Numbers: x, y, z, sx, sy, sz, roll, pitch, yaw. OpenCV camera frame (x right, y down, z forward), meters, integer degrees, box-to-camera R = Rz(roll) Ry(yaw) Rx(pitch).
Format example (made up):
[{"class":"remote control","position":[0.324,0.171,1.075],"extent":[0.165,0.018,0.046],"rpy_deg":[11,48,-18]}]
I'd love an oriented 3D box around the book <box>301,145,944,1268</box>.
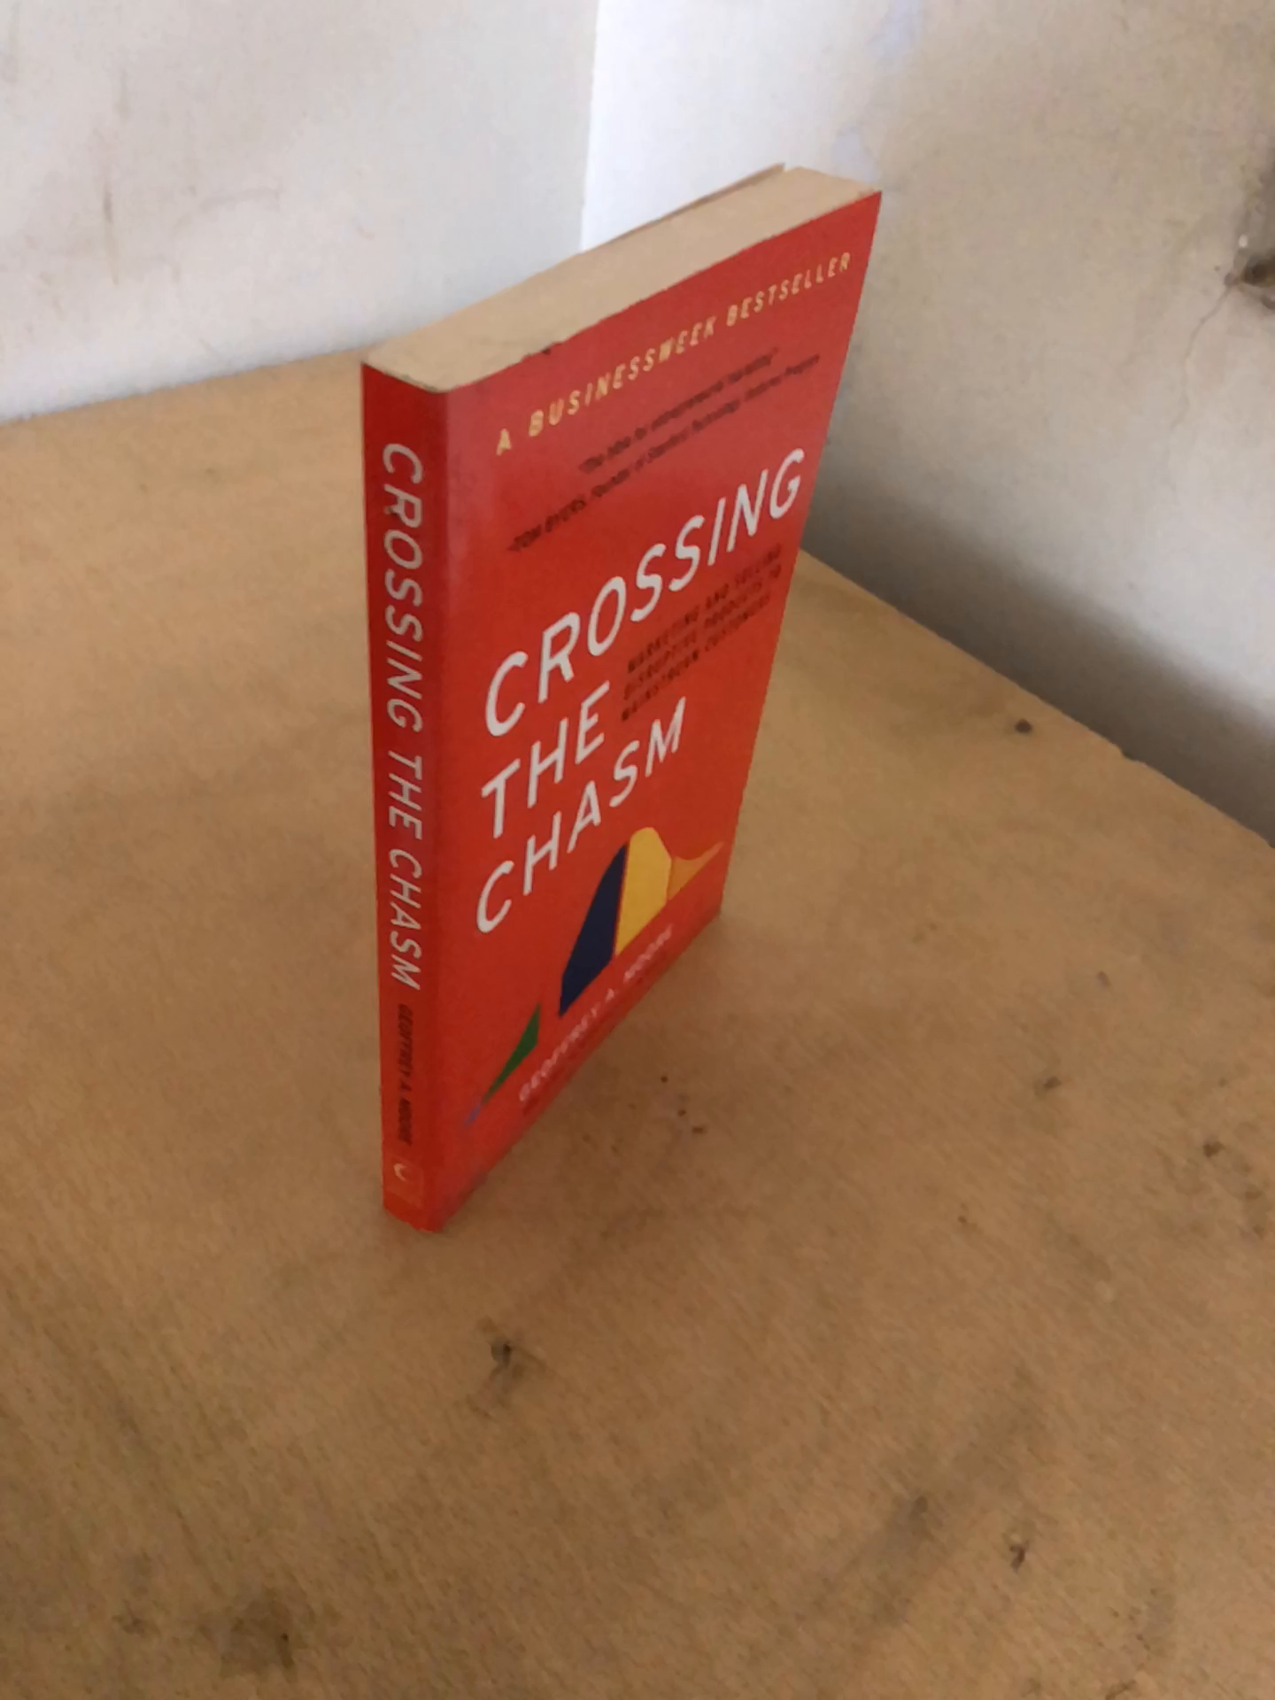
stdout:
[{"class":"book","position":[-0.002,-0.029,0.311],"extent":[0.030,0.199,0.161],"rpy_deg":[26,44,20]}]
